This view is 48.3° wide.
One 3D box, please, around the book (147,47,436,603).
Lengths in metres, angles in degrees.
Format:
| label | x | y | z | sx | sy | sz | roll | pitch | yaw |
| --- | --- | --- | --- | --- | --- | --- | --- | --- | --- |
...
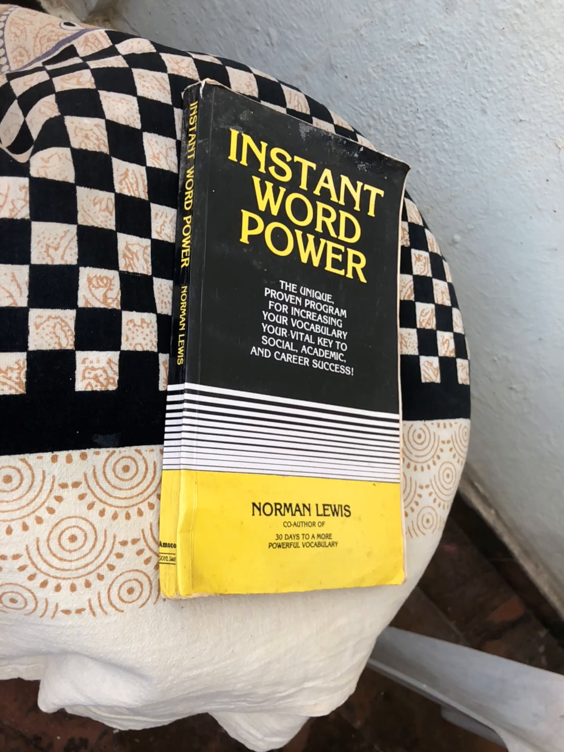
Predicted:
| label | x | y | z | sx | sy | sz | roll | pitch | yaw |
| --- | --- | --- | --- | --- | --- | --- | --- | --- | --- |
| book | 0.010 | -0.027 | 0.376 | 0.161 | 0.040 | 0.300 | 12 | 68 | -35 |
